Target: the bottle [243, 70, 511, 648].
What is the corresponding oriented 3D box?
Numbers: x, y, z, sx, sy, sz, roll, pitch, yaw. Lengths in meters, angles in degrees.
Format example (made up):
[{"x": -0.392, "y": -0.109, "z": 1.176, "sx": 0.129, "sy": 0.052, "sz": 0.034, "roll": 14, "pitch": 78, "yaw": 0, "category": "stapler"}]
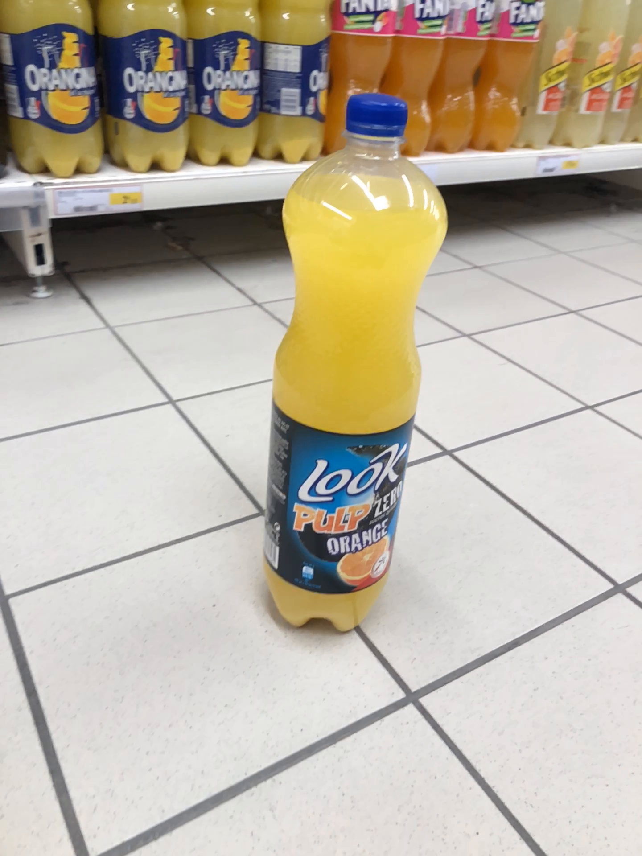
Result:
[{"x": 0.012, "y": -0.026, "z": 0.418, "sx": 0.100, "sy": 0.318, "sz": 0.100, "roll": 3, "pitch": 31, "yaw": -2, "category": "bottle"}]
